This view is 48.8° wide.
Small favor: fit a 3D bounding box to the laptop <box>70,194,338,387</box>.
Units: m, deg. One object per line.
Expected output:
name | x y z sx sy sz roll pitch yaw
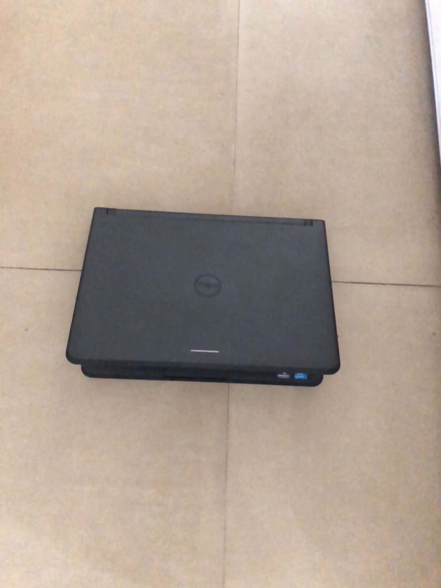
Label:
laptop | -0.016 -0.001 0.622 0.314 0.064 0.220 3 82 -1
